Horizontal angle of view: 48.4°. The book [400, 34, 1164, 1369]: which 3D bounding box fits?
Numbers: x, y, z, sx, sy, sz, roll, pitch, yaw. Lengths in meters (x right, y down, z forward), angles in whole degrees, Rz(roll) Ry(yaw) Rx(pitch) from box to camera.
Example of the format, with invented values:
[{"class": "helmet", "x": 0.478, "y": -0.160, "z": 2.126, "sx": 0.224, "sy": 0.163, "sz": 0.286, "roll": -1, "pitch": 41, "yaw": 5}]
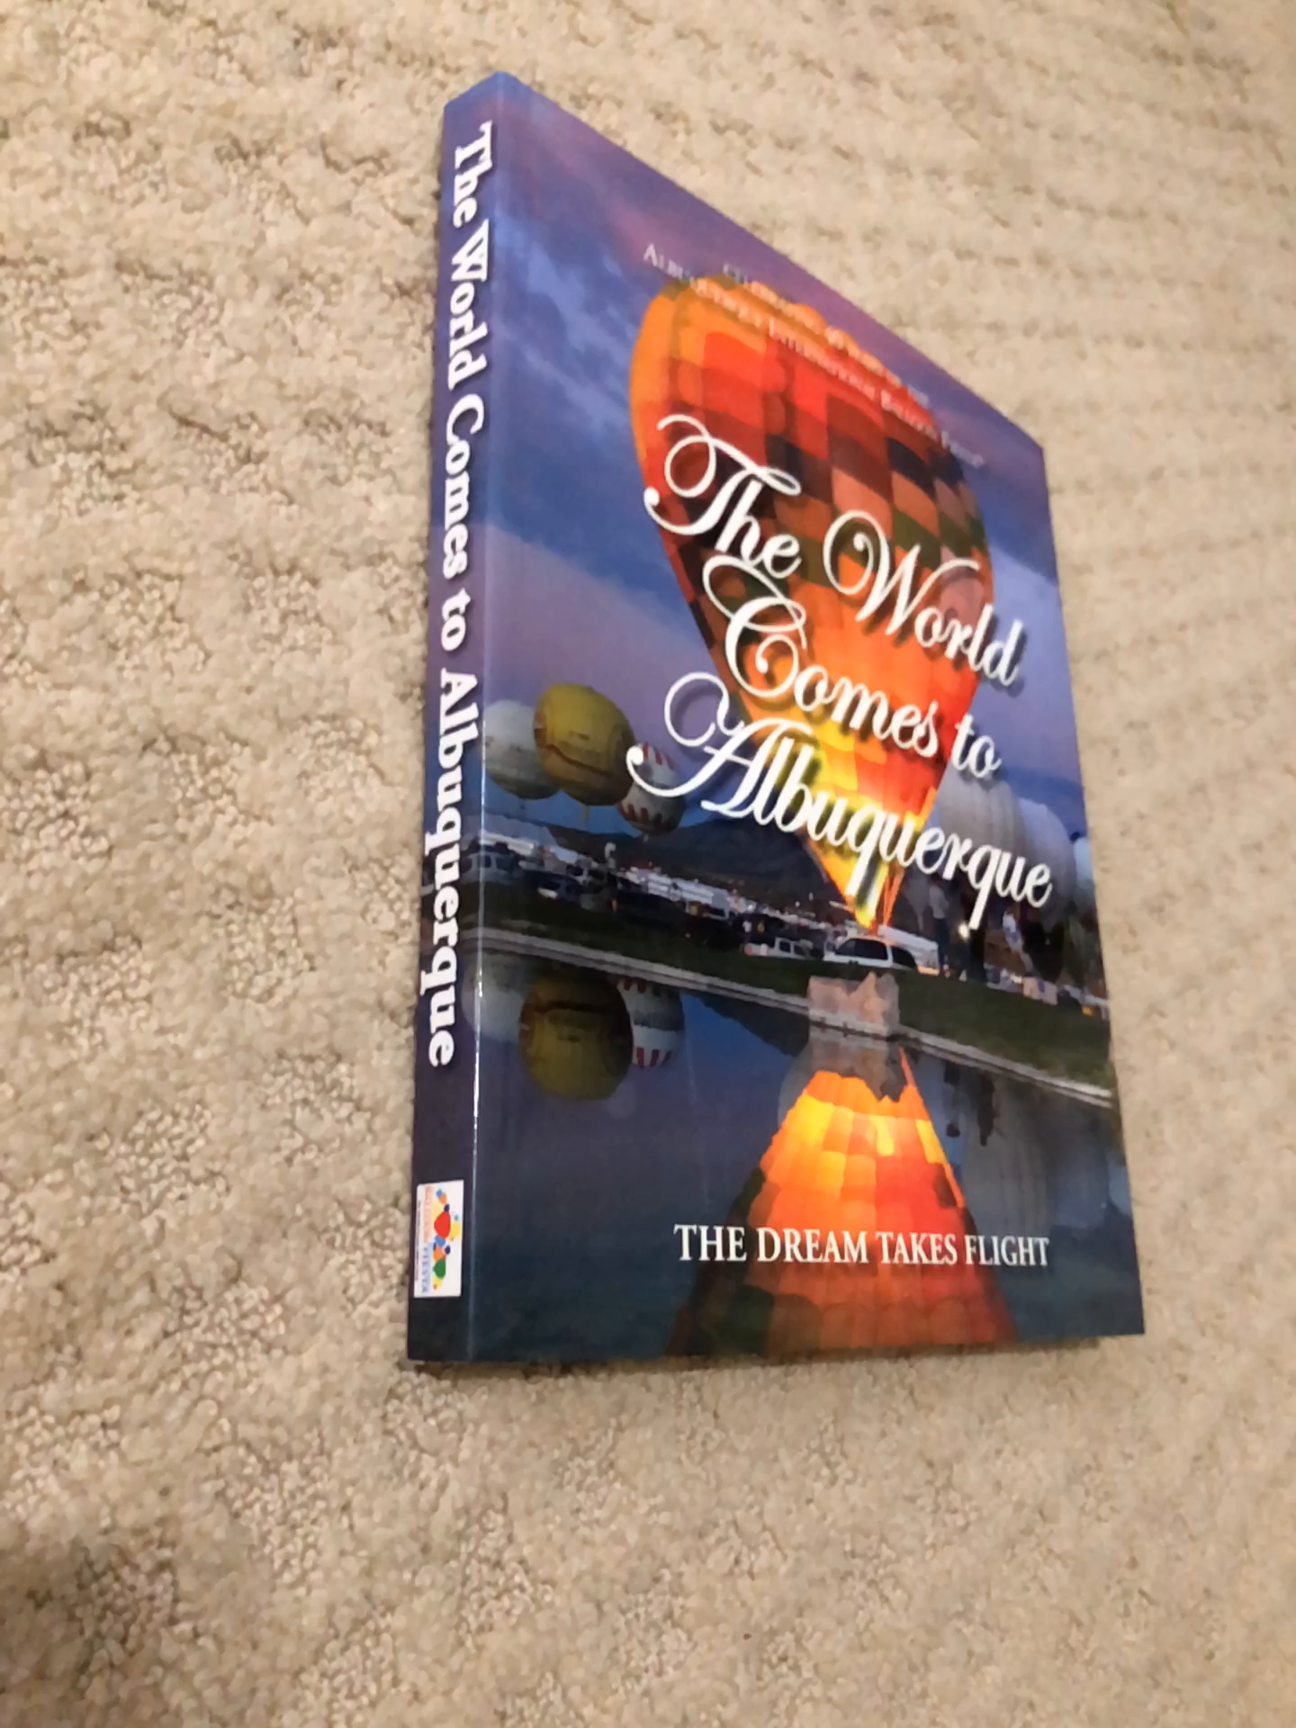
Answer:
[{"class": "book", "x": 0.040, "y": -0.025, "z": 0.331, "sx": 0.205, "sy": 0.023, "sz": 0.258, "roll": 15, "pitch": 66, "yaw": -41}]
